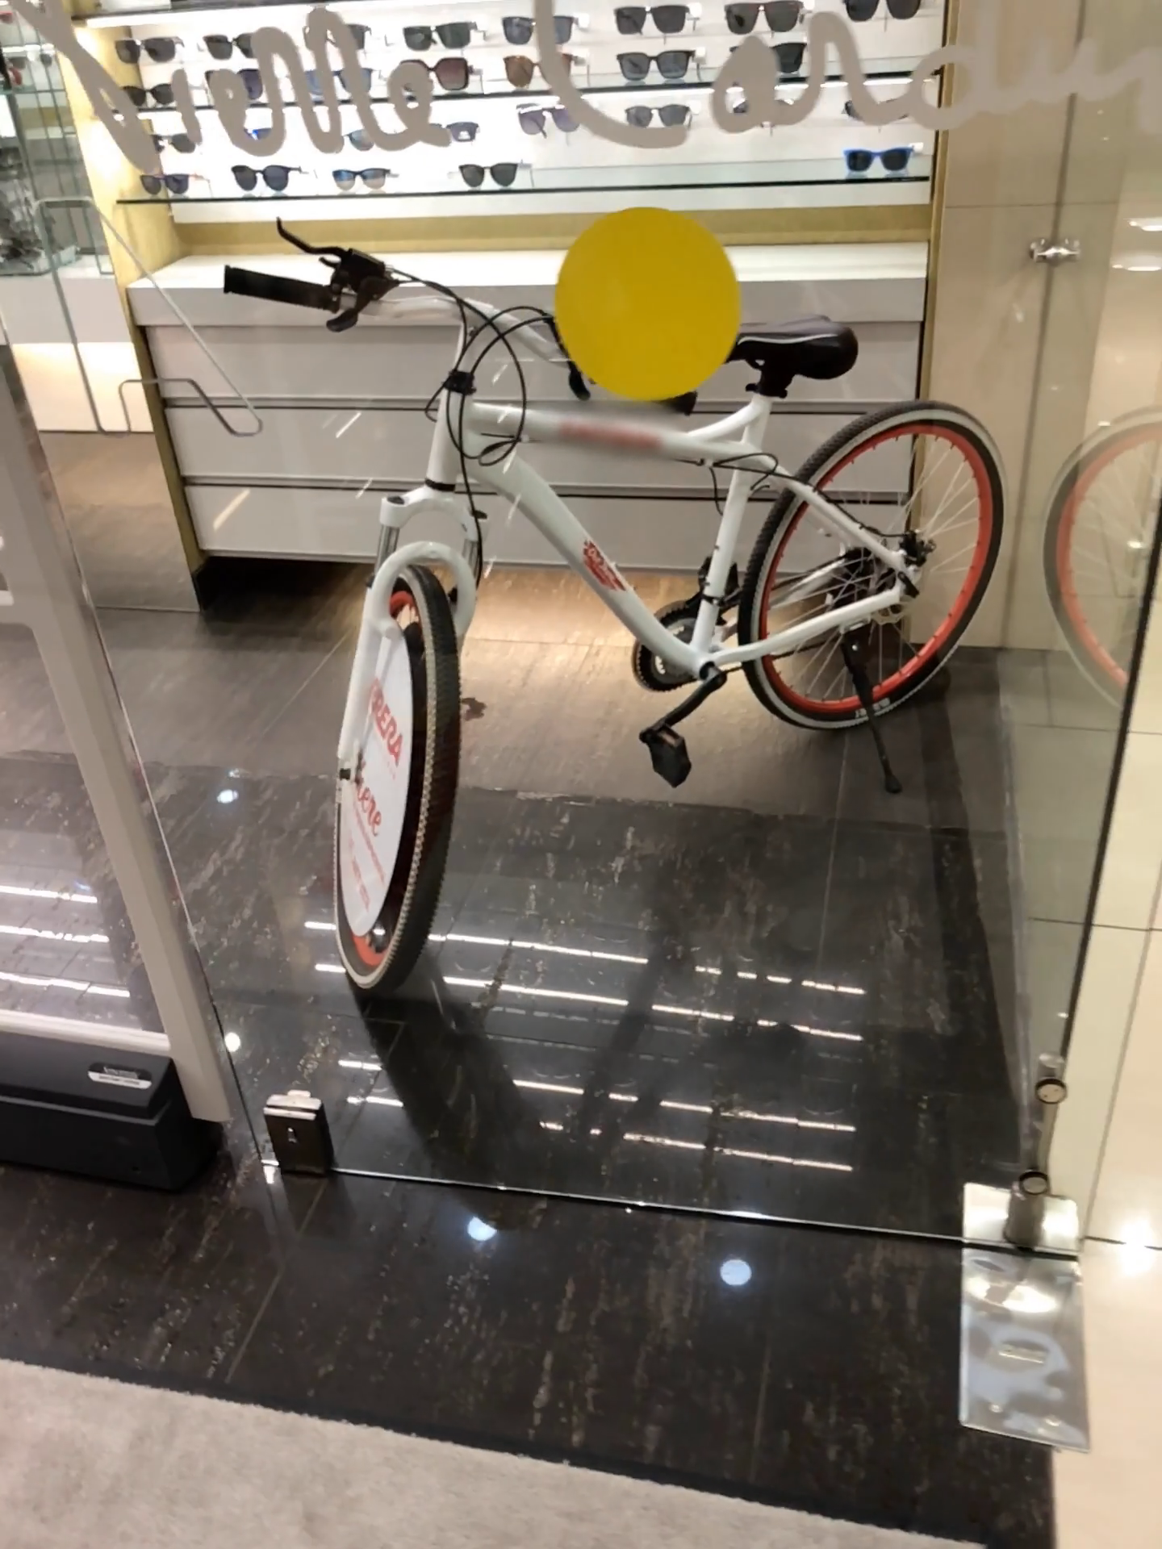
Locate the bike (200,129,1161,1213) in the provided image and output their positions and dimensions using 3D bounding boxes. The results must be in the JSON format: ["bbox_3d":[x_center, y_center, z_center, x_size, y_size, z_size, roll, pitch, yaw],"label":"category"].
[{"bbox_3d":[0.255,-0.289,1.935,1.385,0.948,0.593,-33,42,-32],"label":"bike"}]
